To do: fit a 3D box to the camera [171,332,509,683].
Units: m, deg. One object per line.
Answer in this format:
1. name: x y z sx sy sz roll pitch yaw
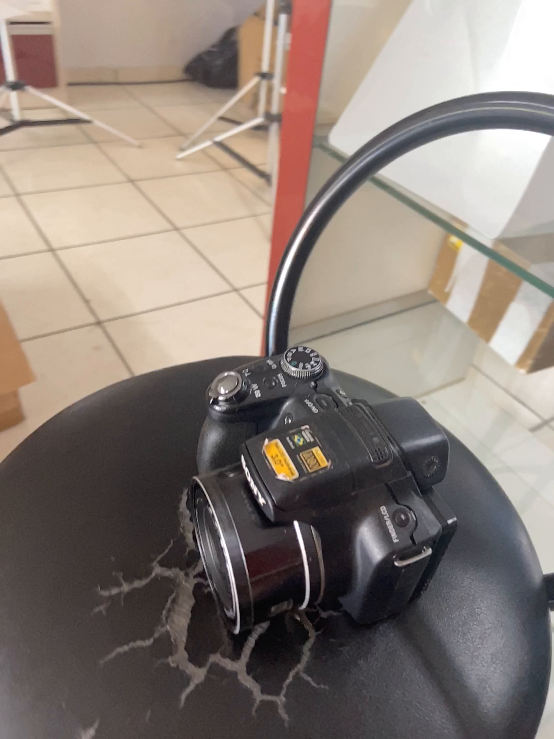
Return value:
1. camera: 0.016 0.052 0.253 0.100 0.079 0.100 -11 43 -21
